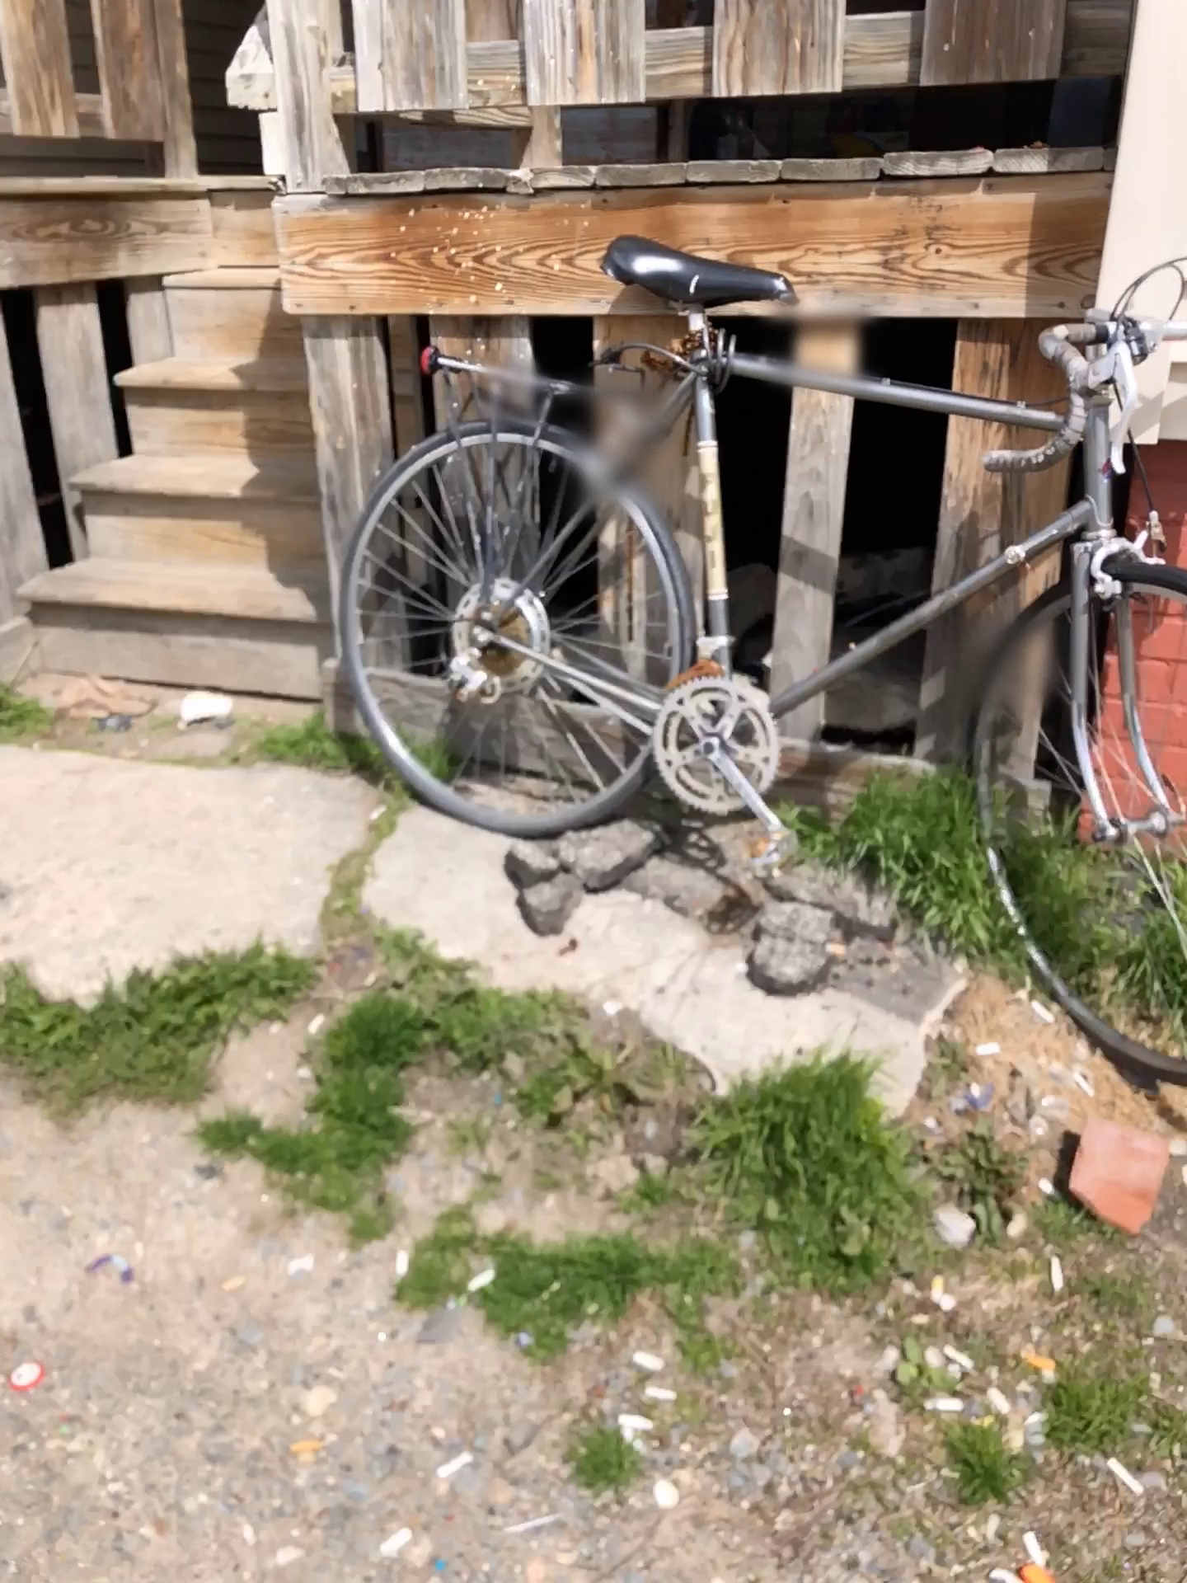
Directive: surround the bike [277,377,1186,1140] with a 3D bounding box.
[{"bbox_3d":[0.205,-0.153,1.473,1.202,0.478,0.400,17,29,33],"label":"bike"}]
